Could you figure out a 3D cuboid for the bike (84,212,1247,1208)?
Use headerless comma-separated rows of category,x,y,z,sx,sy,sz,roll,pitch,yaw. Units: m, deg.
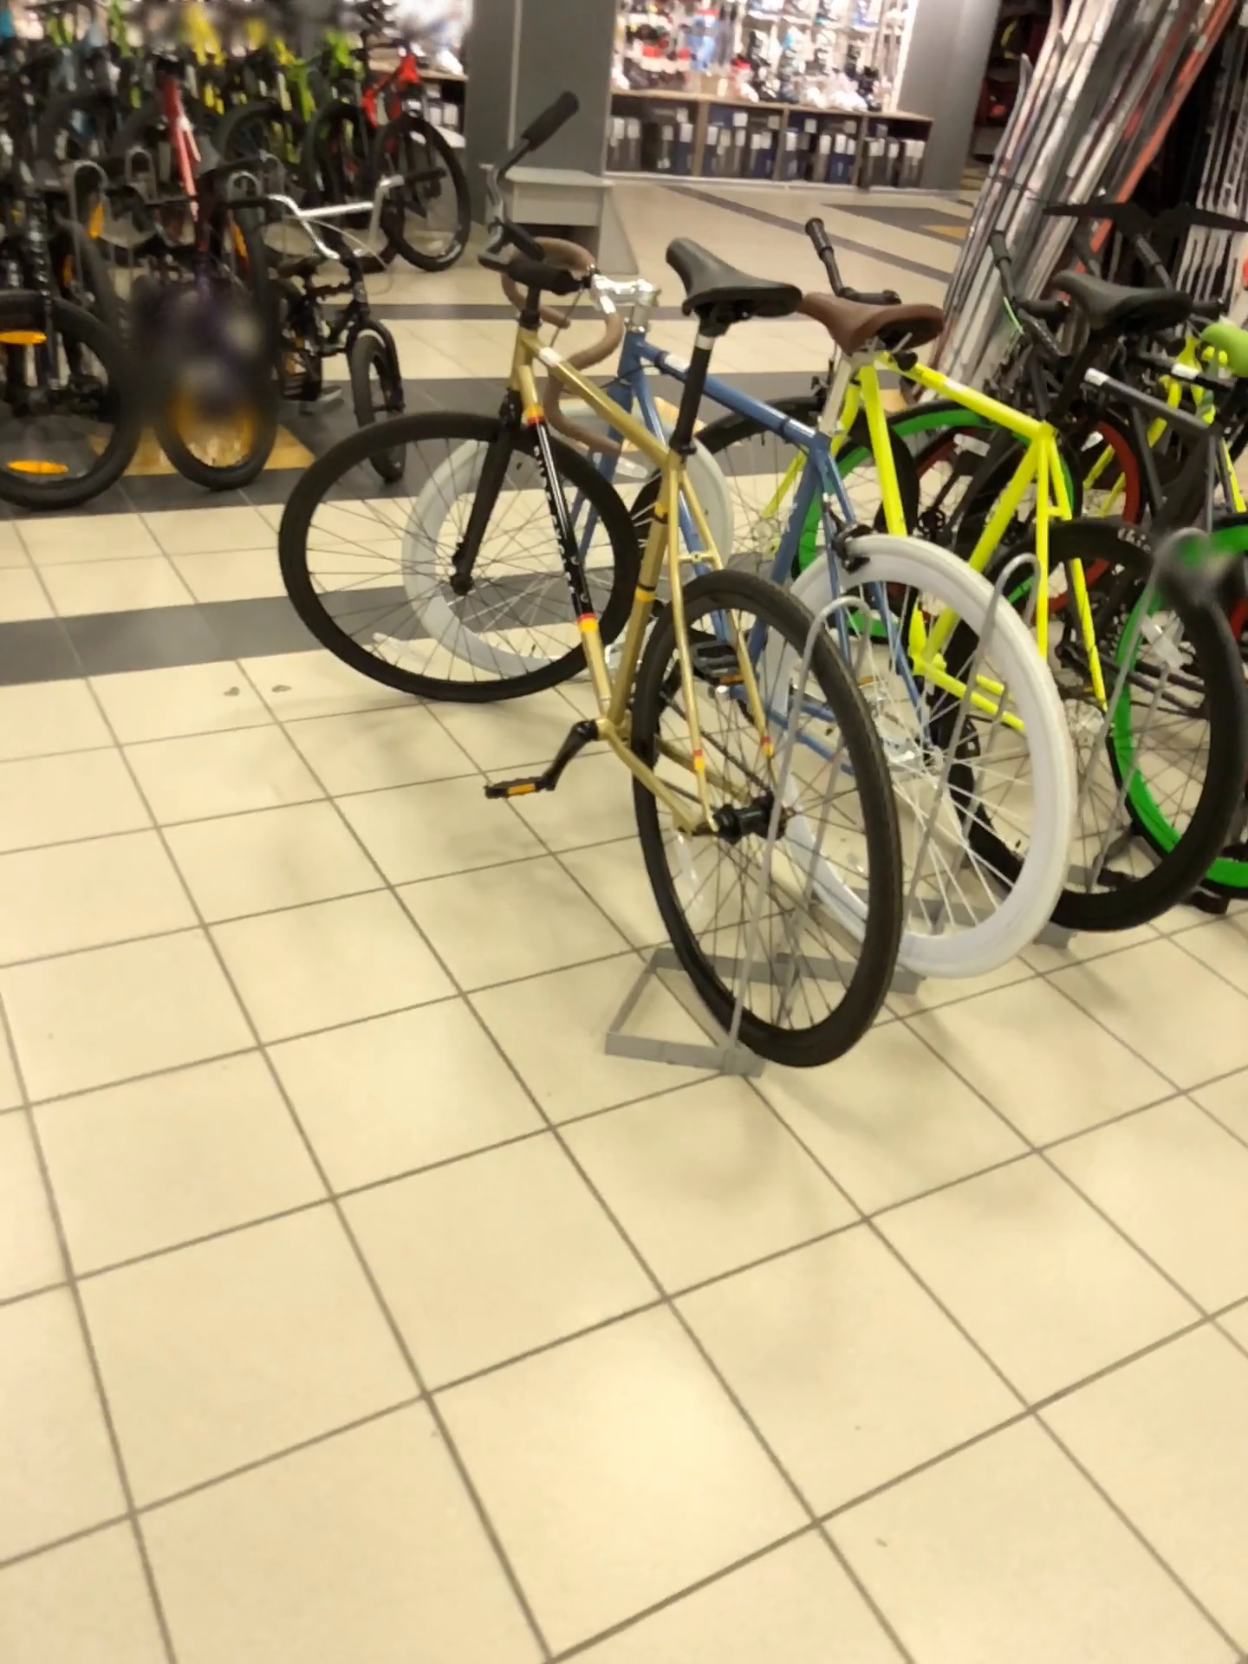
bike,-0.153,-0.316,2.051,0.674,1.092,1.466,-16,33,-35
